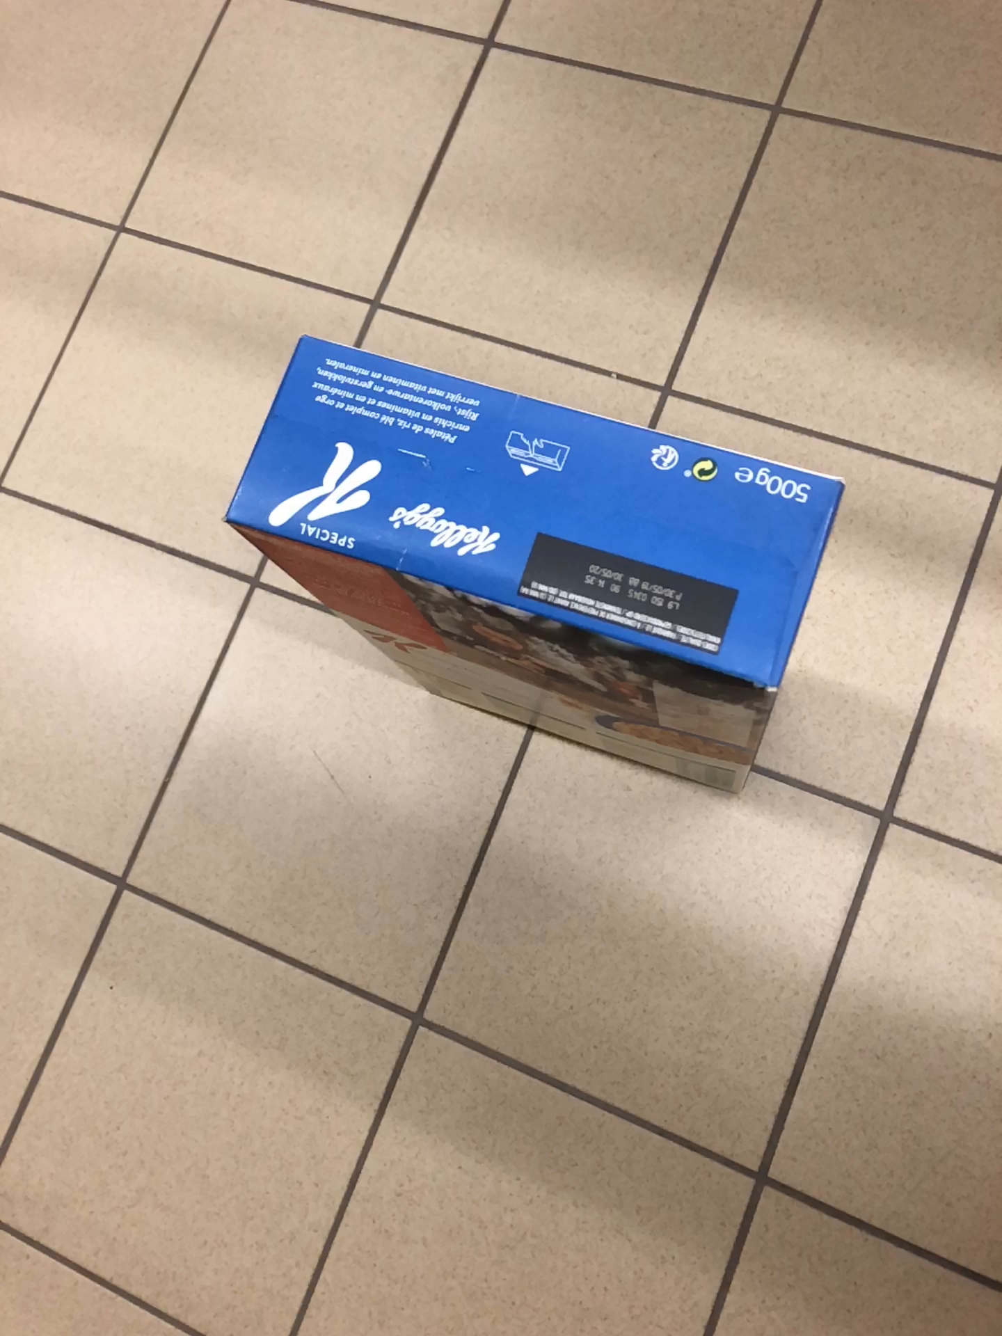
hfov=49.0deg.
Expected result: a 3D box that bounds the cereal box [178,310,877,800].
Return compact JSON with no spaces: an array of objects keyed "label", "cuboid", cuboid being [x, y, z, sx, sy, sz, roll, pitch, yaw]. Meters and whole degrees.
[{"label":"cereal box","cuboid":[0.028,-0.025,0.489,0.210,0.300,0.070,18,81,13]}]
